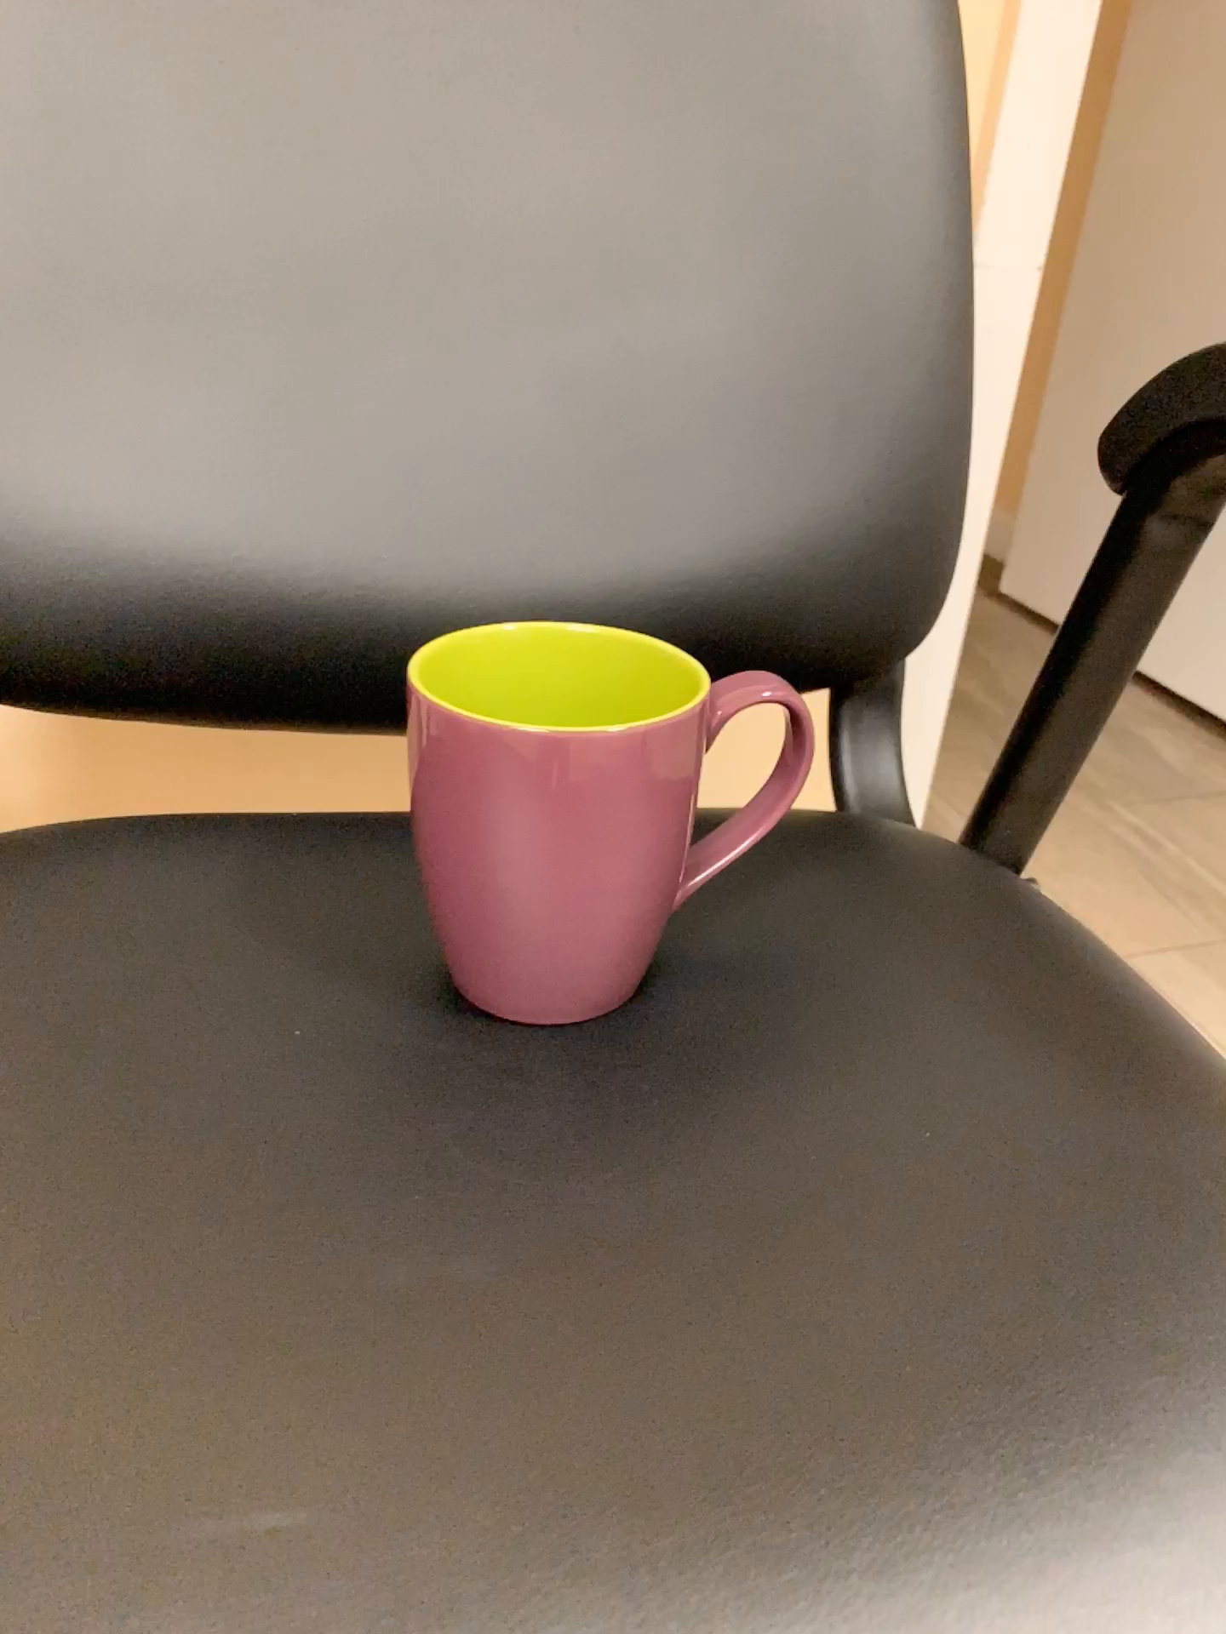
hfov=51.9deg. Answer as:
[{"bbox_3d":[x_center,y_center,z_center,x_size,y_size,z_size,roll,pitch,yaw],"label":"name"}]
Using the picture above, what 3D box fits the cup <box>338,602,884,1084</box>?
[{"bbox_3d":[-0.007,0.001,0.408,0.143,0.109,0.090,-7,31,-21],"label":"cup"}]
